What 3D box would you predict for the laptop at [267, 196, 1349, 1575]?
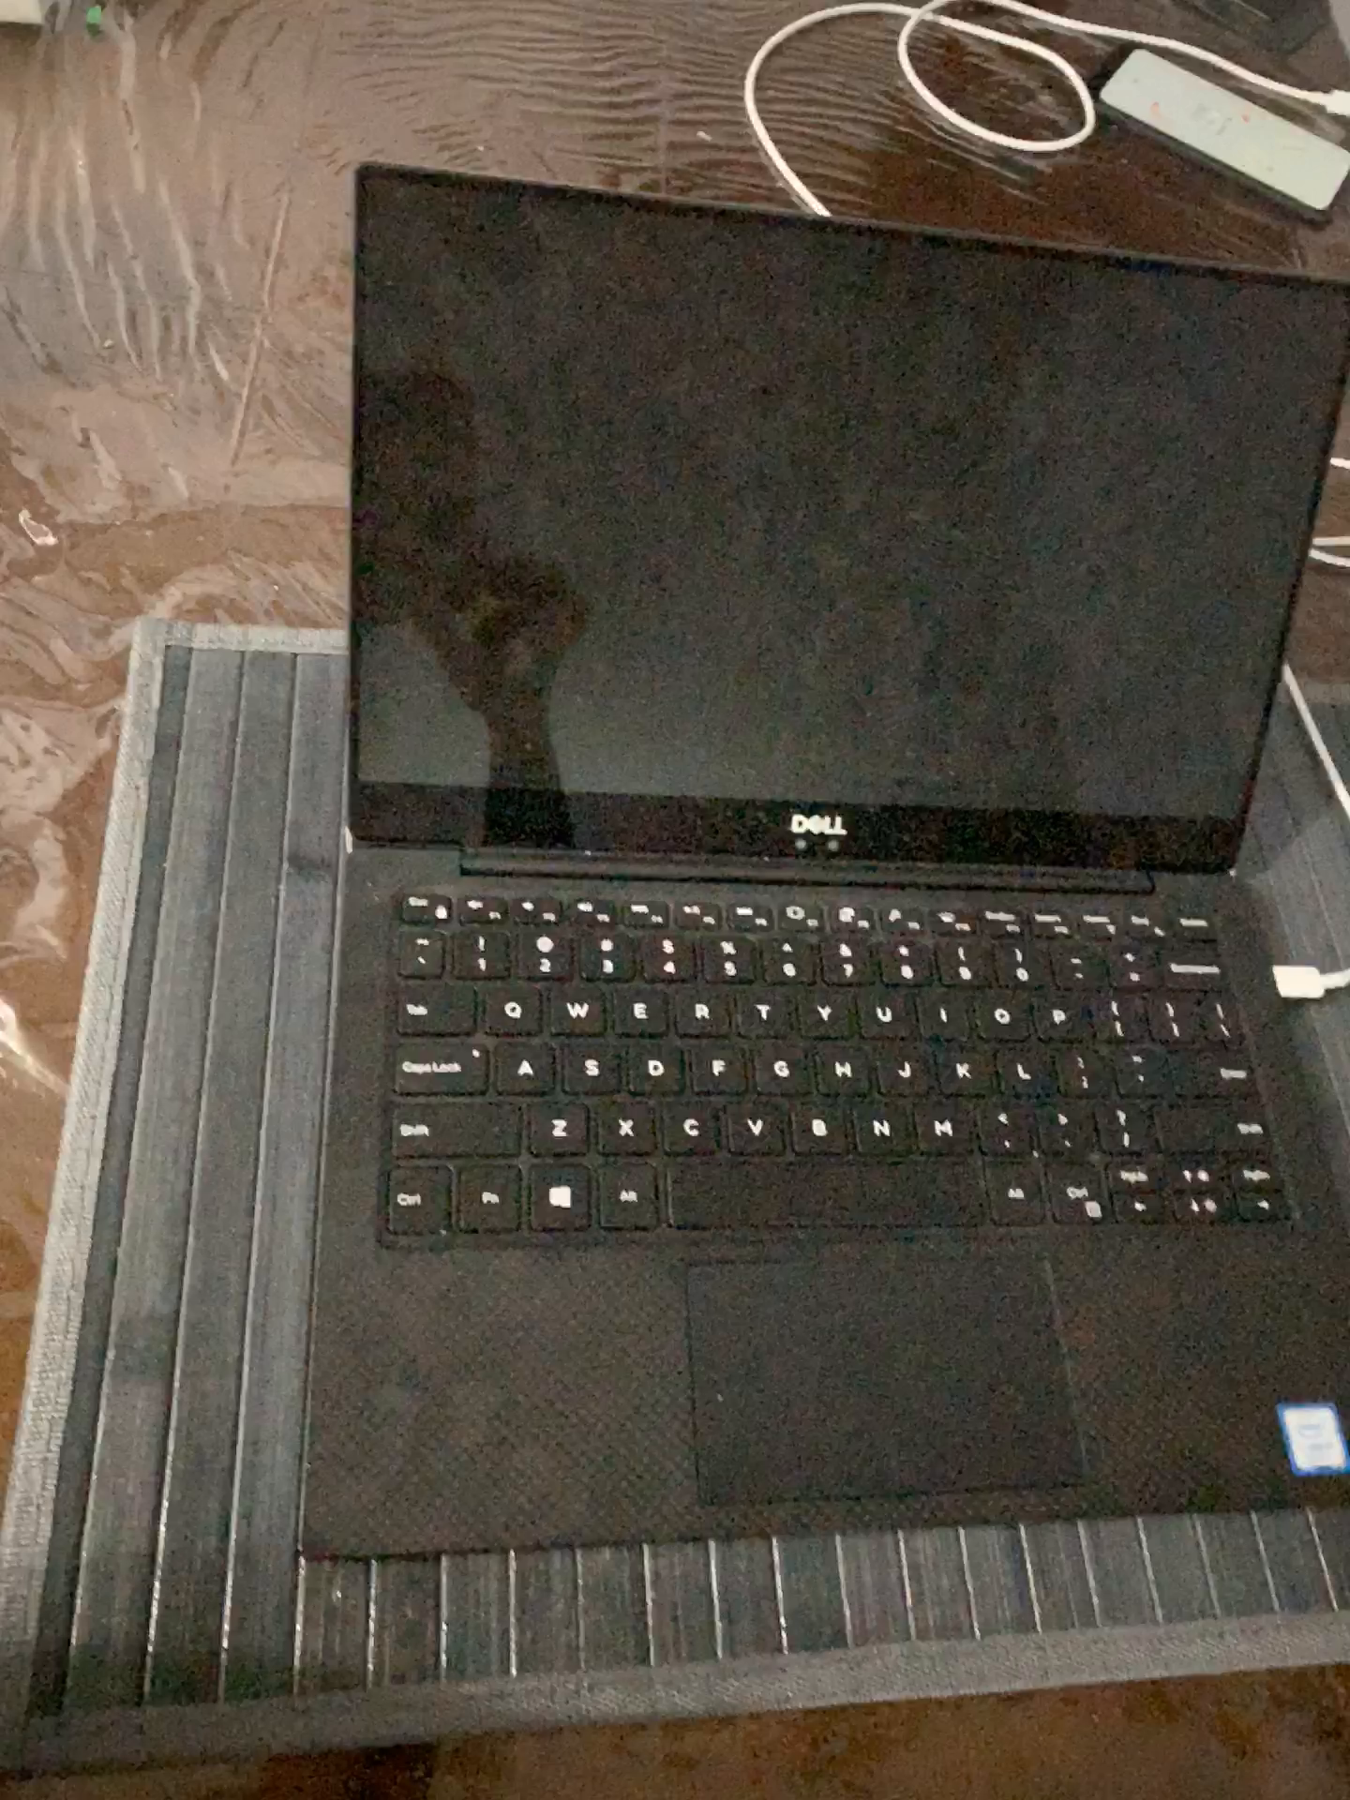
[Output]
[{"bbox_3d":[0.061,-0.009,0.348,0.282,0.130,0.298,1,60,-10],"label":"laptop"}]
